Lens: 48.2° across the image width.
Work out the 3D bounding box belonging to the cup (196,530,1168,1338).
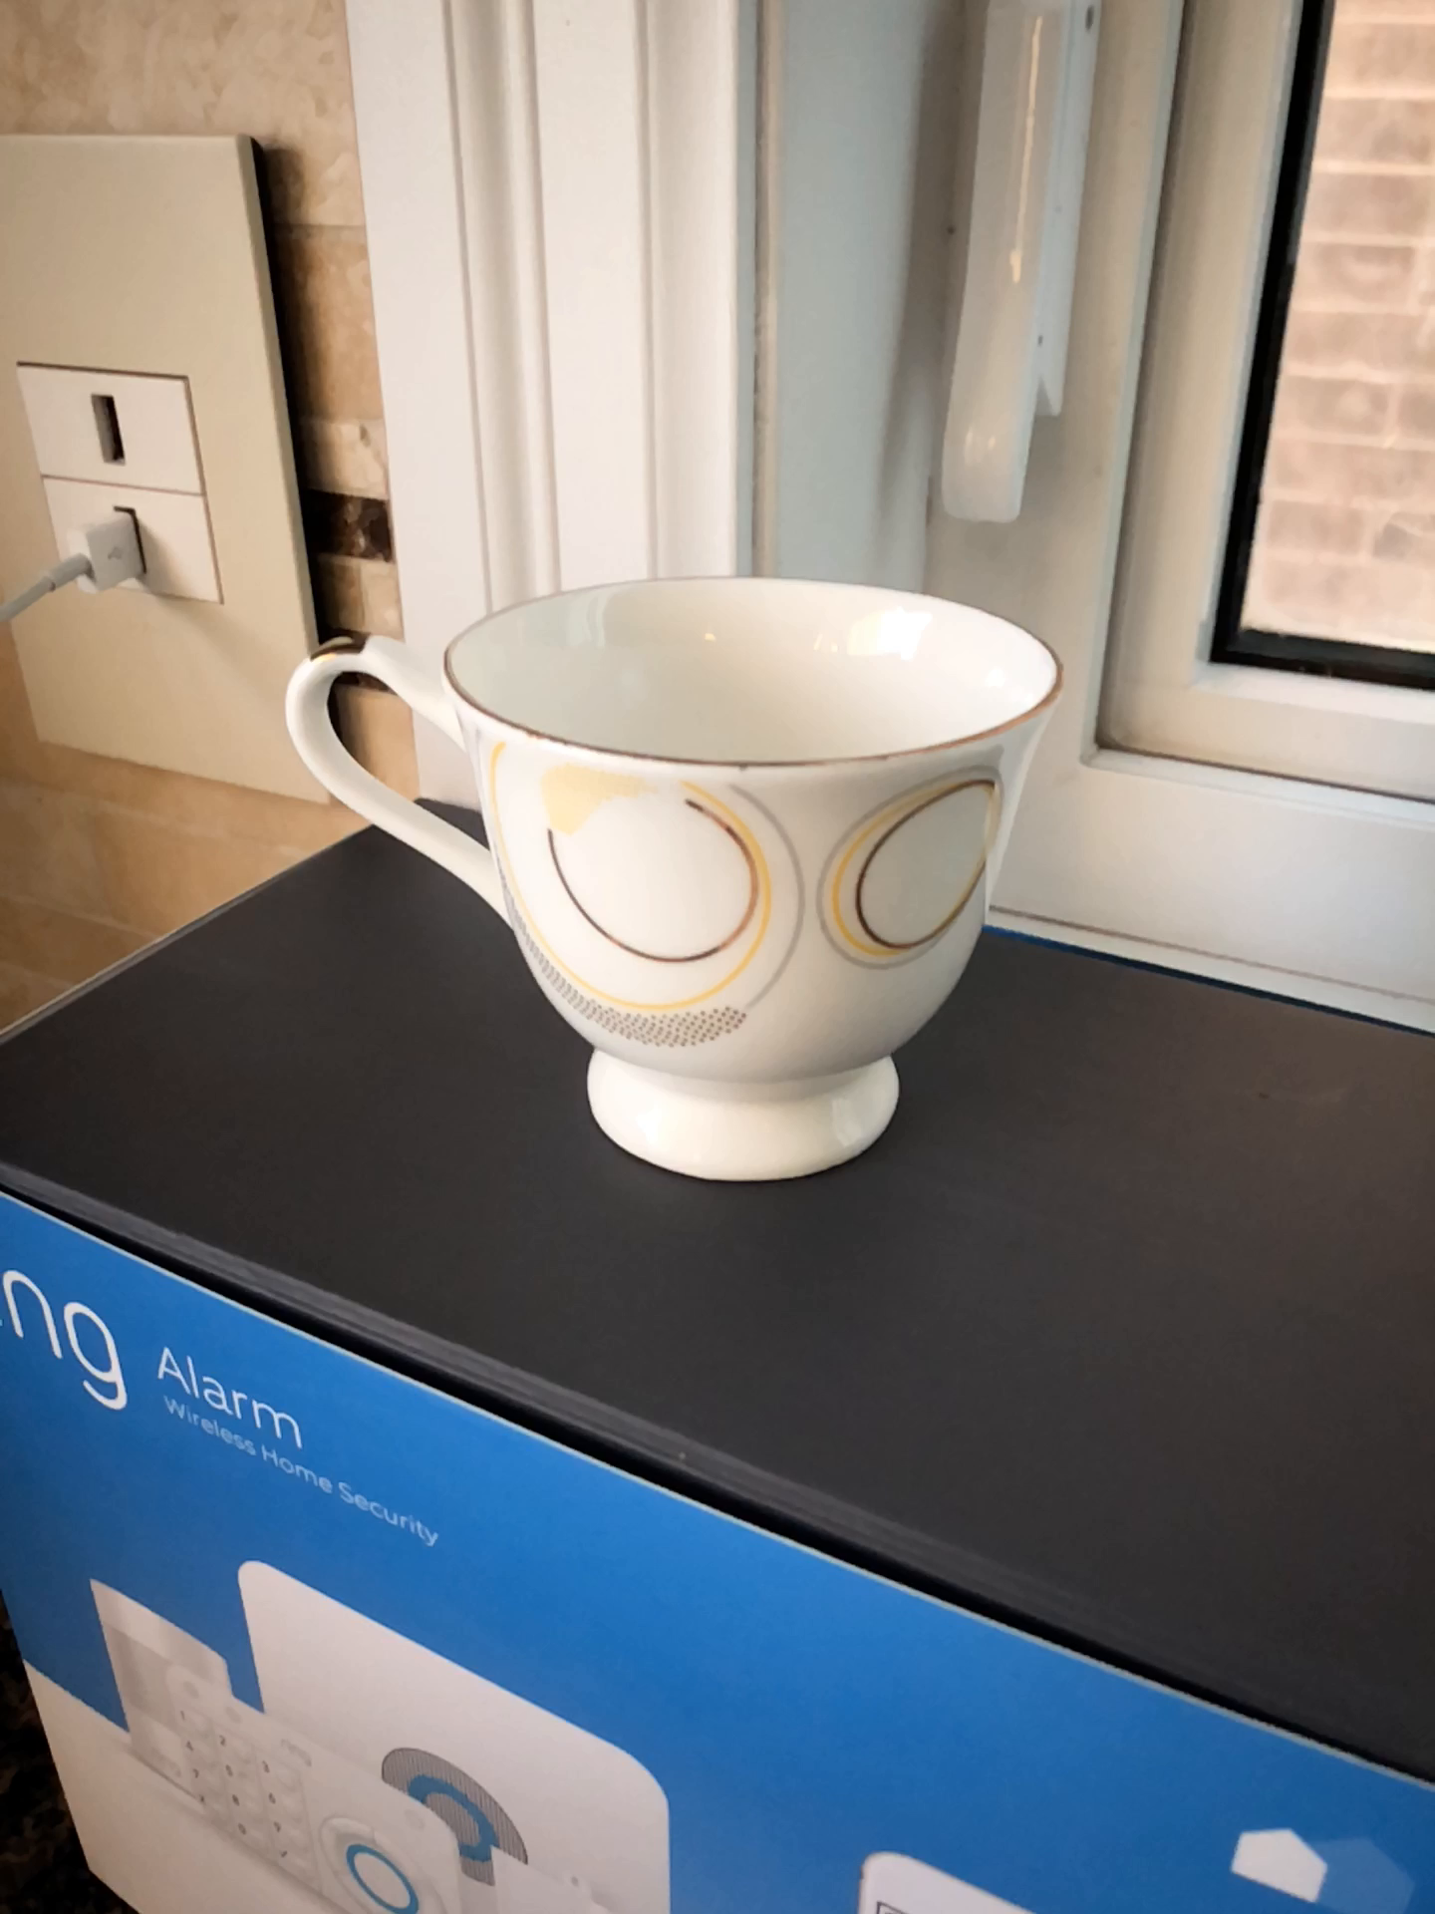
[{"bbox_3d":[0.000,-0.011,0.219,0.100,0.066,0.077,11,31,21],"label":"cup"}]
